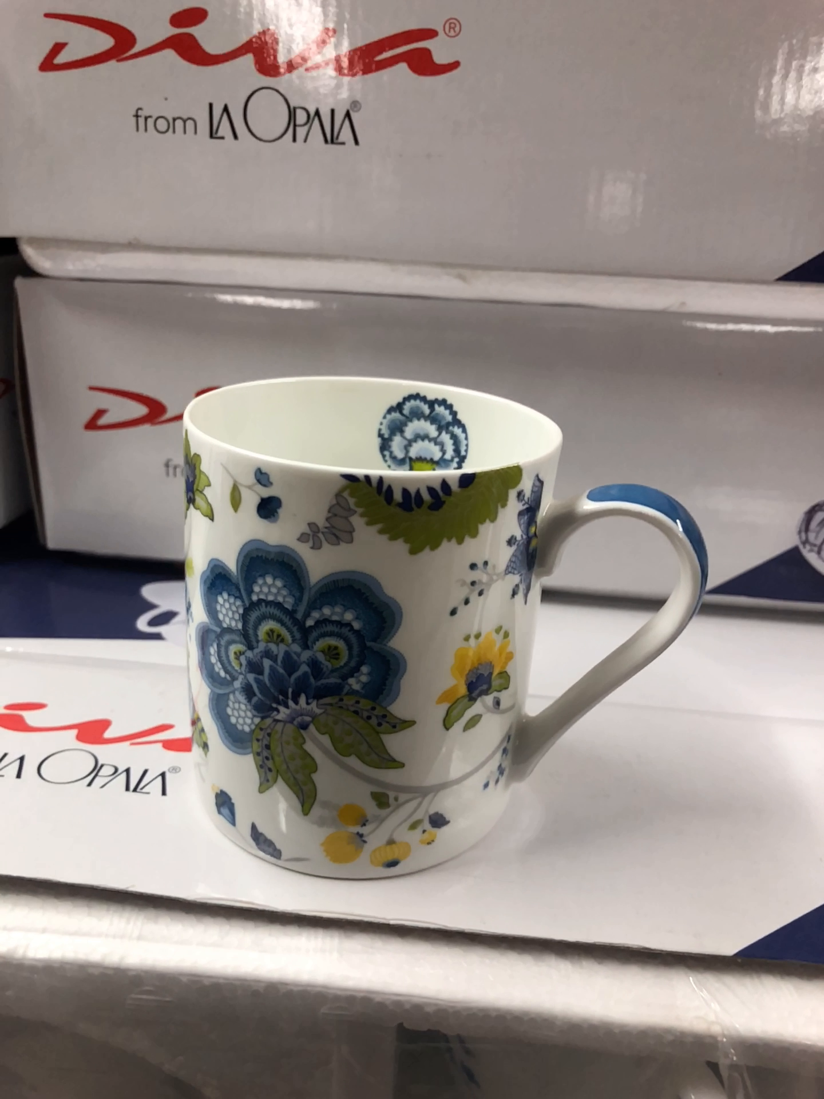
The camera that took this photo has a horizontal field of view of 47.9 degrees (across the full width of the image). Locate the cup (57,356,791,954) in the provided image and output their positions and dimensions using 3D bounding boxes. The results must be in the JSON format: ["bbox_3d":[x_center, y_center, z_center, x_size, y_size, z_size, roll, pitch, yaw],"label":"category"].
[{"bbox_3d":[0.003,0.012,0.189,0.110,0.080,0.080,6,23,6],"label":"cup"}]
